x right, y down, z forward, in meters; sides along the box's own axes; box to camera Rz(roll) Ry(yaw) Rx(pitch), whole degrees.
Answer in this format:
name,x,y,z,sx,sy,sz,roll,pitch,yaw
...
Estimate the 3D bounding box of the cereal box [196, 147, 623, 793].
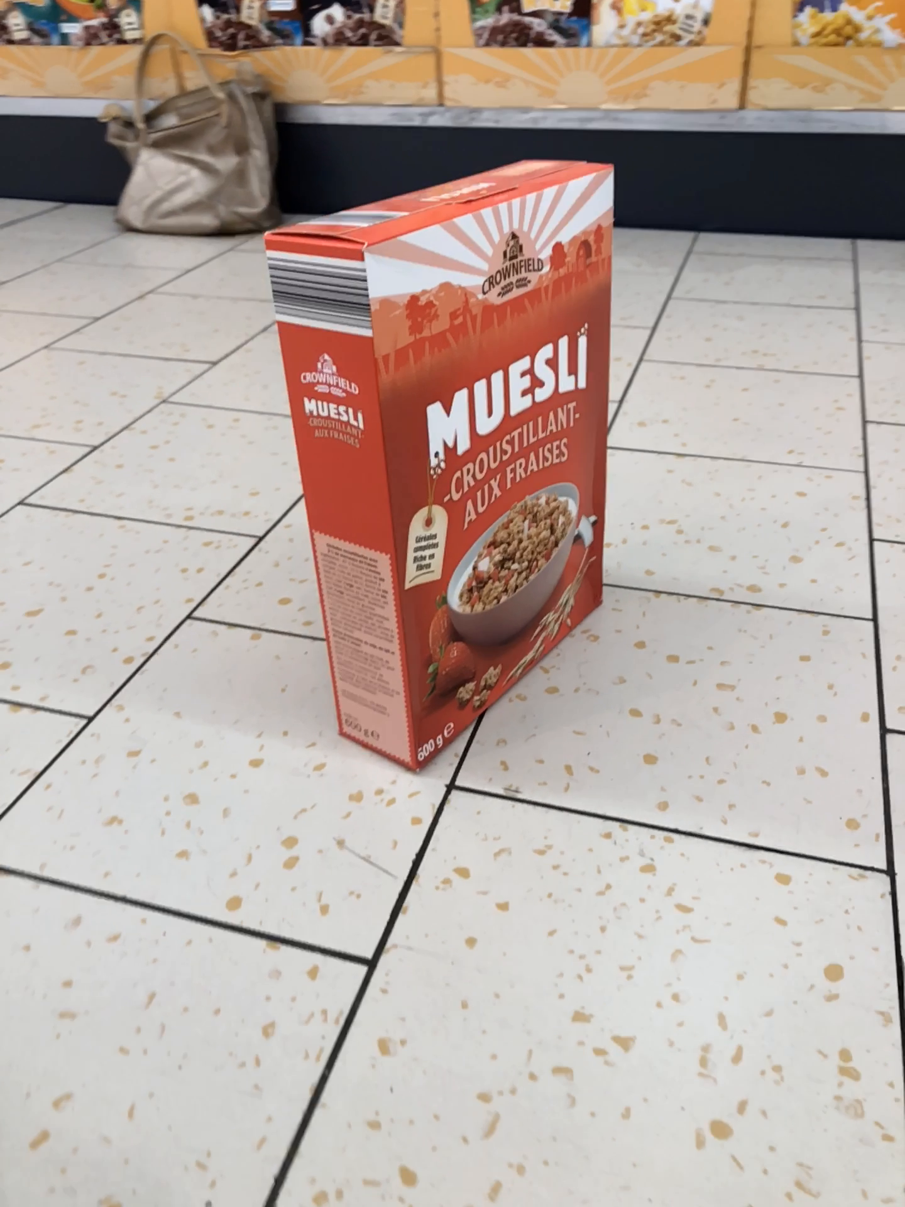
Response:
name,x,y,z,sx,sy,sz,roll,pitch,yaw
cereal box,-0.002,-0.072,0.487,0.070,0.249,0.201,19,38,32
